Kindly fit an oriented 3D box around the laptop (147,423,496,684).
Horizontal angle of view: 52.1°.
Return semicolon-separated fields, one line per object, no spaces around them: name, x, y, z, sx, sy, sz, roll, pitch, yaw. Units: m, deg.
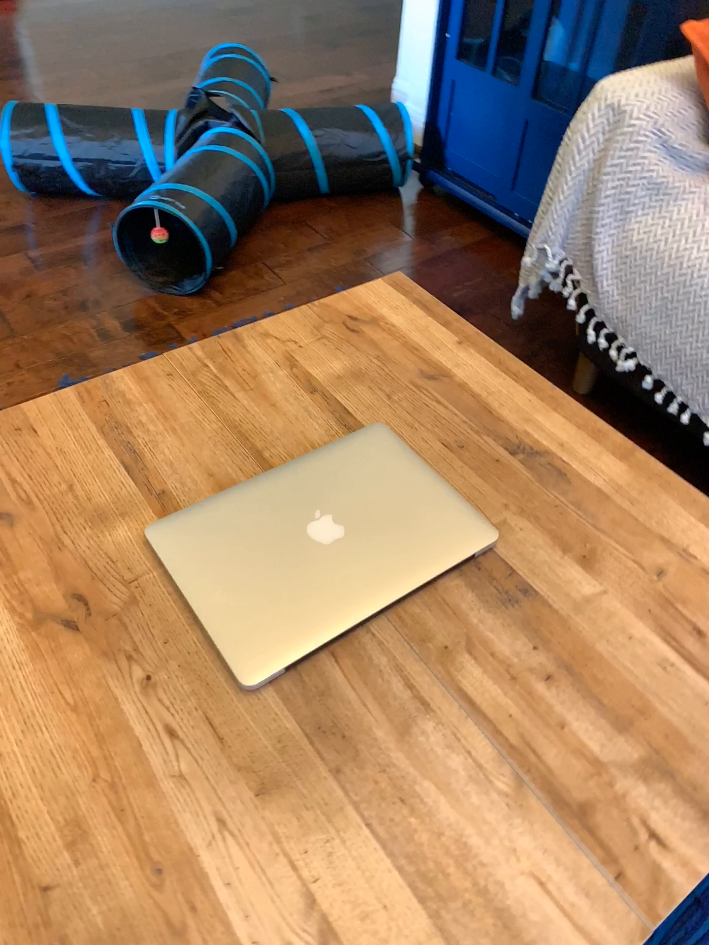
laptop;-0.032;0.062;0.752;0.298;0.002;0.208;-26;52;-26
